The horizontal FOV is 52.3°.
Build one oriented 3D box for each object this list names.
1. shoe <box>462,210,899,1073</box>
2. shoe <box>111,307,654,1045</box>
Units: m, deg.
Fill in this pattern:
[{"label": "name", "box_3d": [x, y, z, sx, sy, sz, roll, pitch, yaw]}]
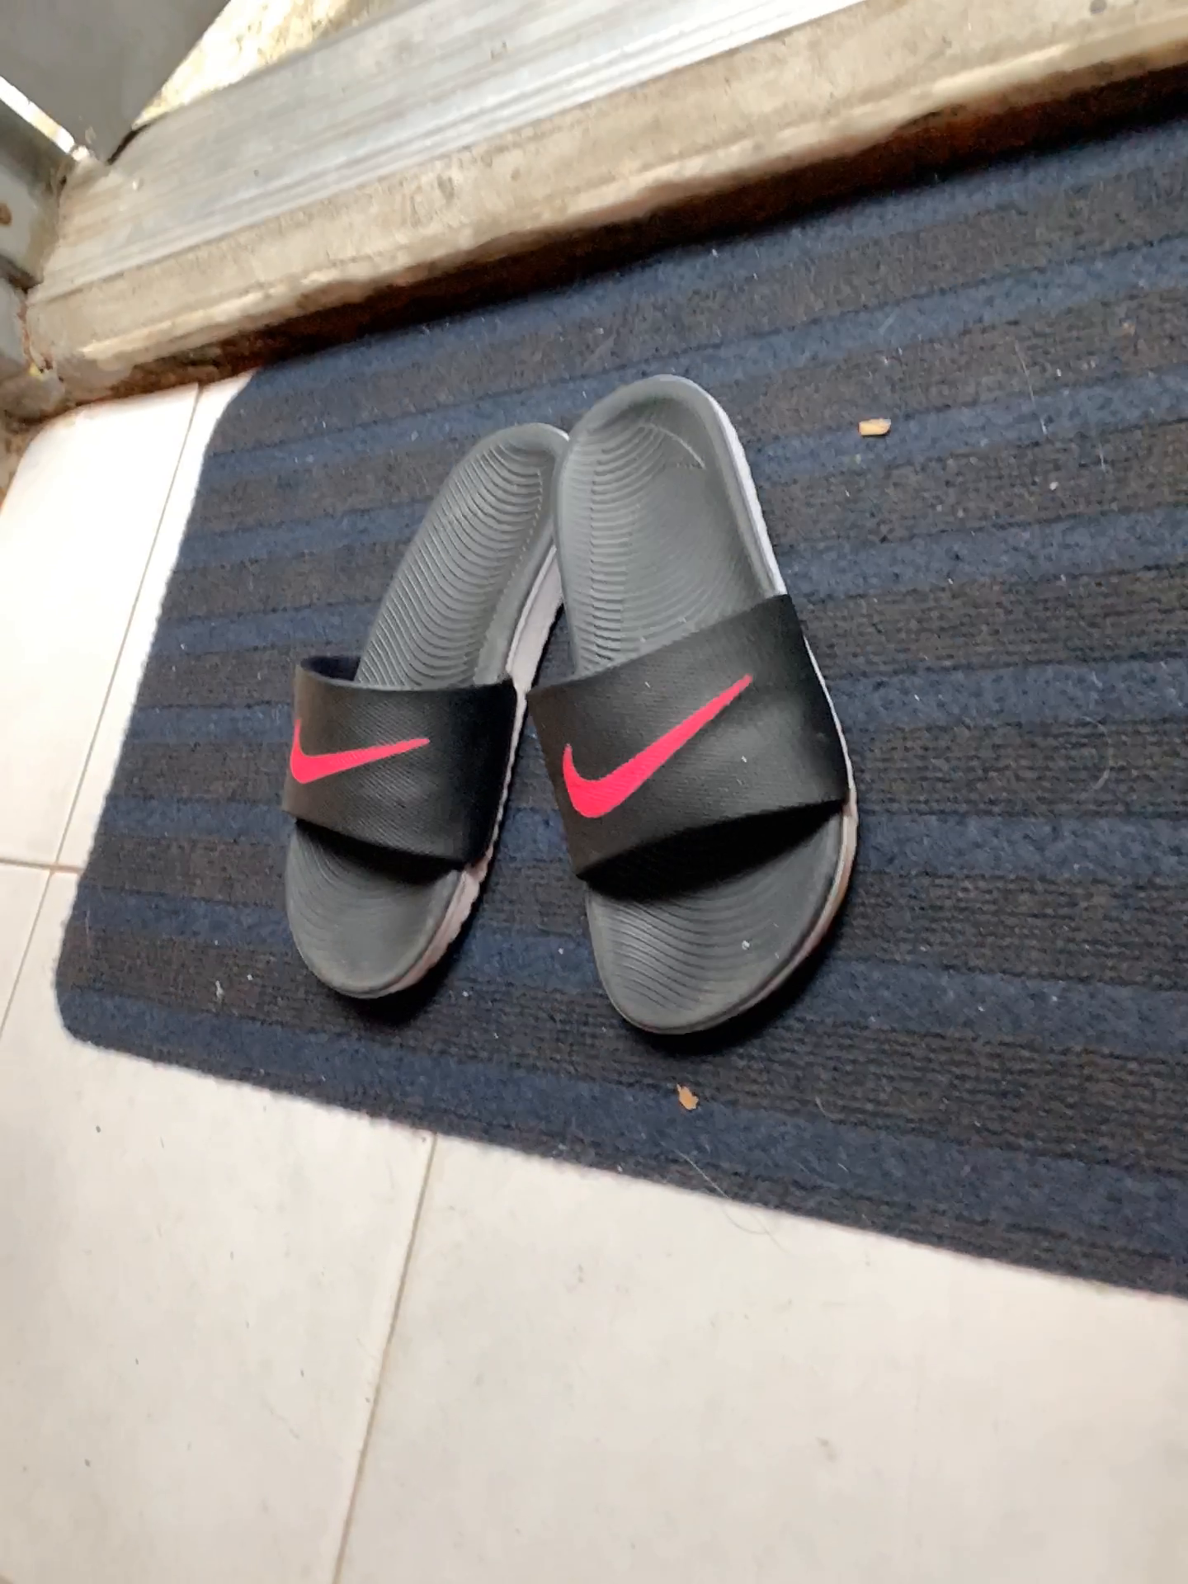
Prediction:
[{"label": "shoe", "box_3d": [0.021, -0.047, 0.393, 0.099, 0.078, 0.251, -16, 64, 29]}, {"label": "shoe", "box_3d": [-0.076, -0.046, 0.458, 0.099, 0.078, 0.251, 12, 79, 37]}]
